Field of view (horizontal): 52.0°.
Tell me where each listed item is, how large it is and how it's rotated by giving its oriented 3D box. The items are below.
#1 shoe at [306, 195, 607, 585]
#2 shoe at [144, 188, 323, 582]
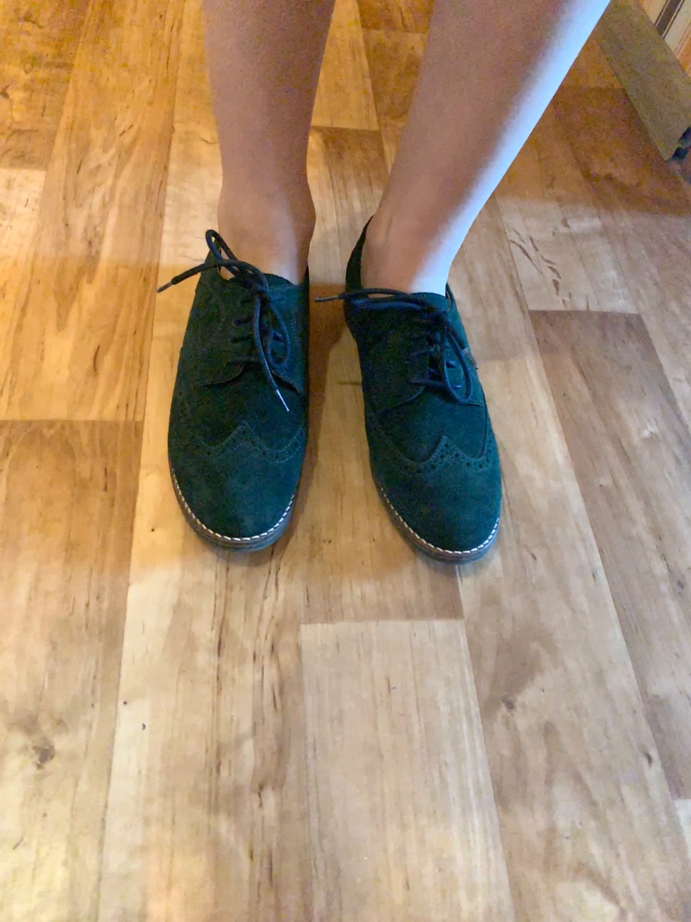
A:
[{"bbox_3d":[0.055,-0.059,0.466,0.100,0.080,0.251,-9,59,-15],"label":"shoe"},{"bbox_3d":[-0.066,-0.059,0.465,0.090,0.080,0.261,3,56,-8],"label":"shoe"}]
